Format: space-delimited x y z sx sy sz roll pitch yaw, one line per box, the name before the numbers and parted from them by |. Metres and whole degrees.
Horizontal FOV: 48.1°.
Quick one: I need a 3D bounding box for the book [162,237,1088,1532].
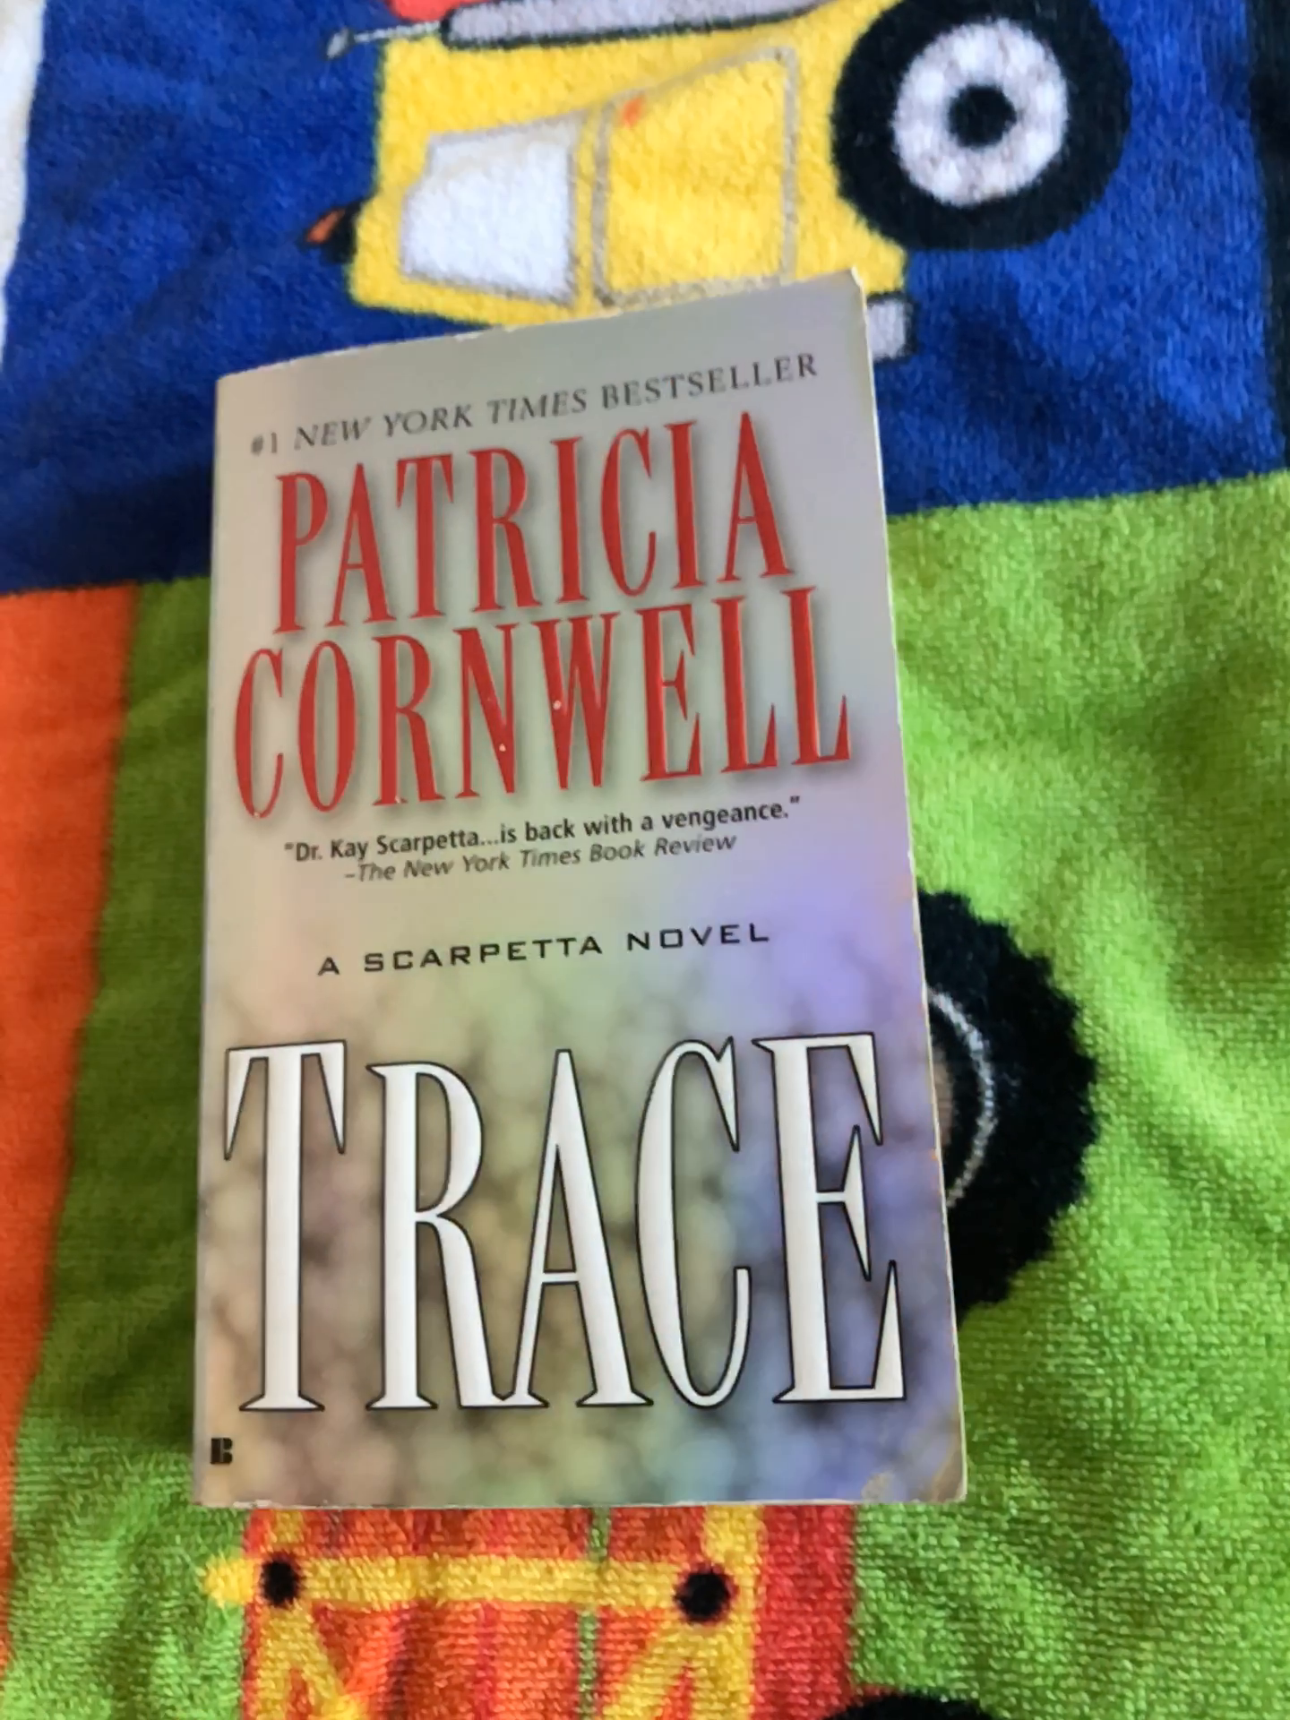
book | -0.006 0.002 0.225 0.120 0.040 0.180 -5 76 8
